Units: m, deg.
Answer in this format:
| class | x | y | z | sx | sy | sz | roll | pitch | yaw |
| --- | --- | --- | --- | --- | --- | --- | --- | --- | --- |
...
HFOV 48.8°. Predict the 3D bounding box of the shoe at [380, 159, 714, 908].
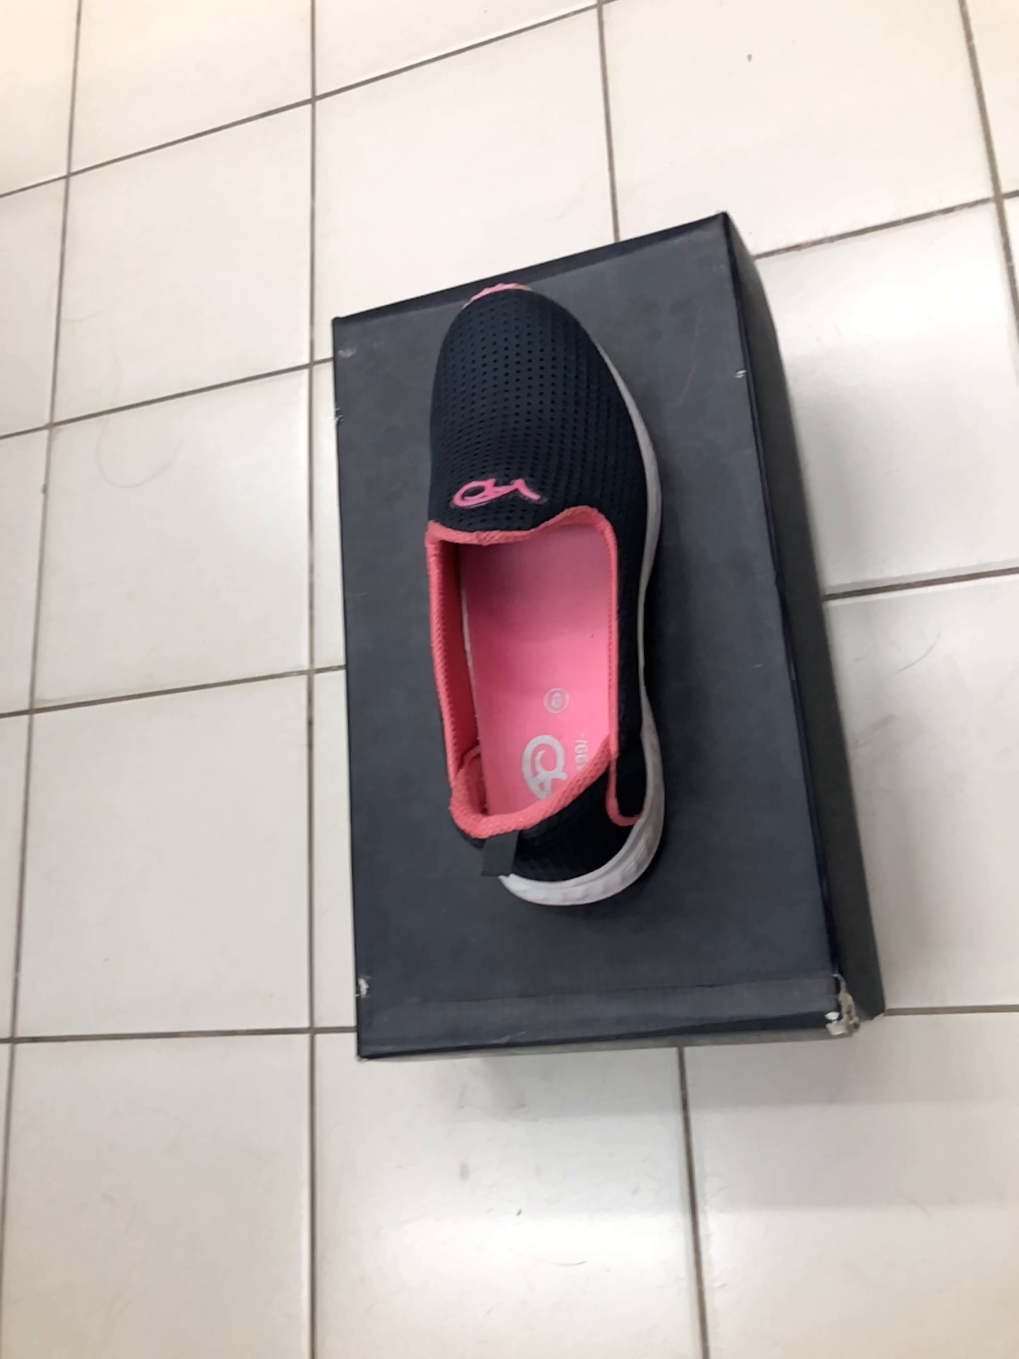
| class | x | y | z | sx | sy | sz | roll | pitch | yaw |
| --- | --- | --- | --- | --- | --- | --- | --- | --- | --- |
| shoe | 0.015 | -0.050 | 0.453 | 0.090 | 0.100 | 0.270 | -8 | 75 | 18 |
